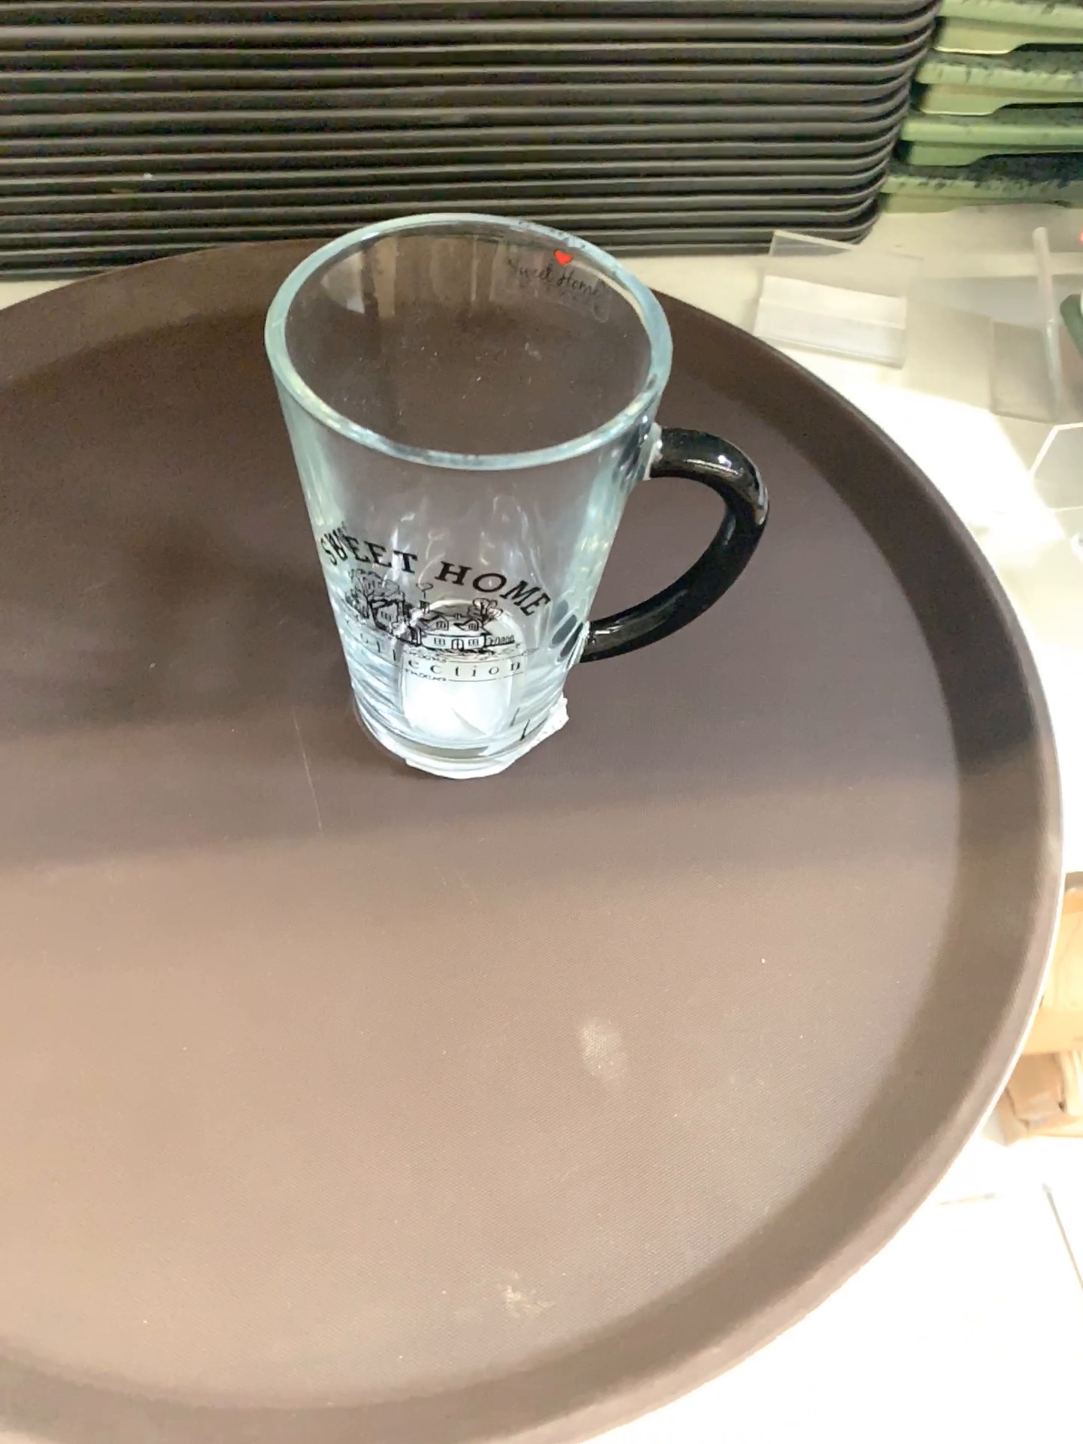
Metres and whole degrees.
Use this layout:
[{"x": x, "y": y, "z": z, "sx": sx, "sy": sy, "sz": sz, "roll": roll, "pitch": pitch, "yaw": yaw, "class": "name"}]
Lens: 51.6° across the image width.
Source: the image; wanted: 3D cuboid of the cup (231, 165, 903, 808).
[{"x": 0.002, "y": -0.050, "z": 0.274, "sx": 0.120, "sy": 0.120, "sz": 0.090, "roll": 2, "pitch": 55, "yaw": -3, "class": "cup"}]
